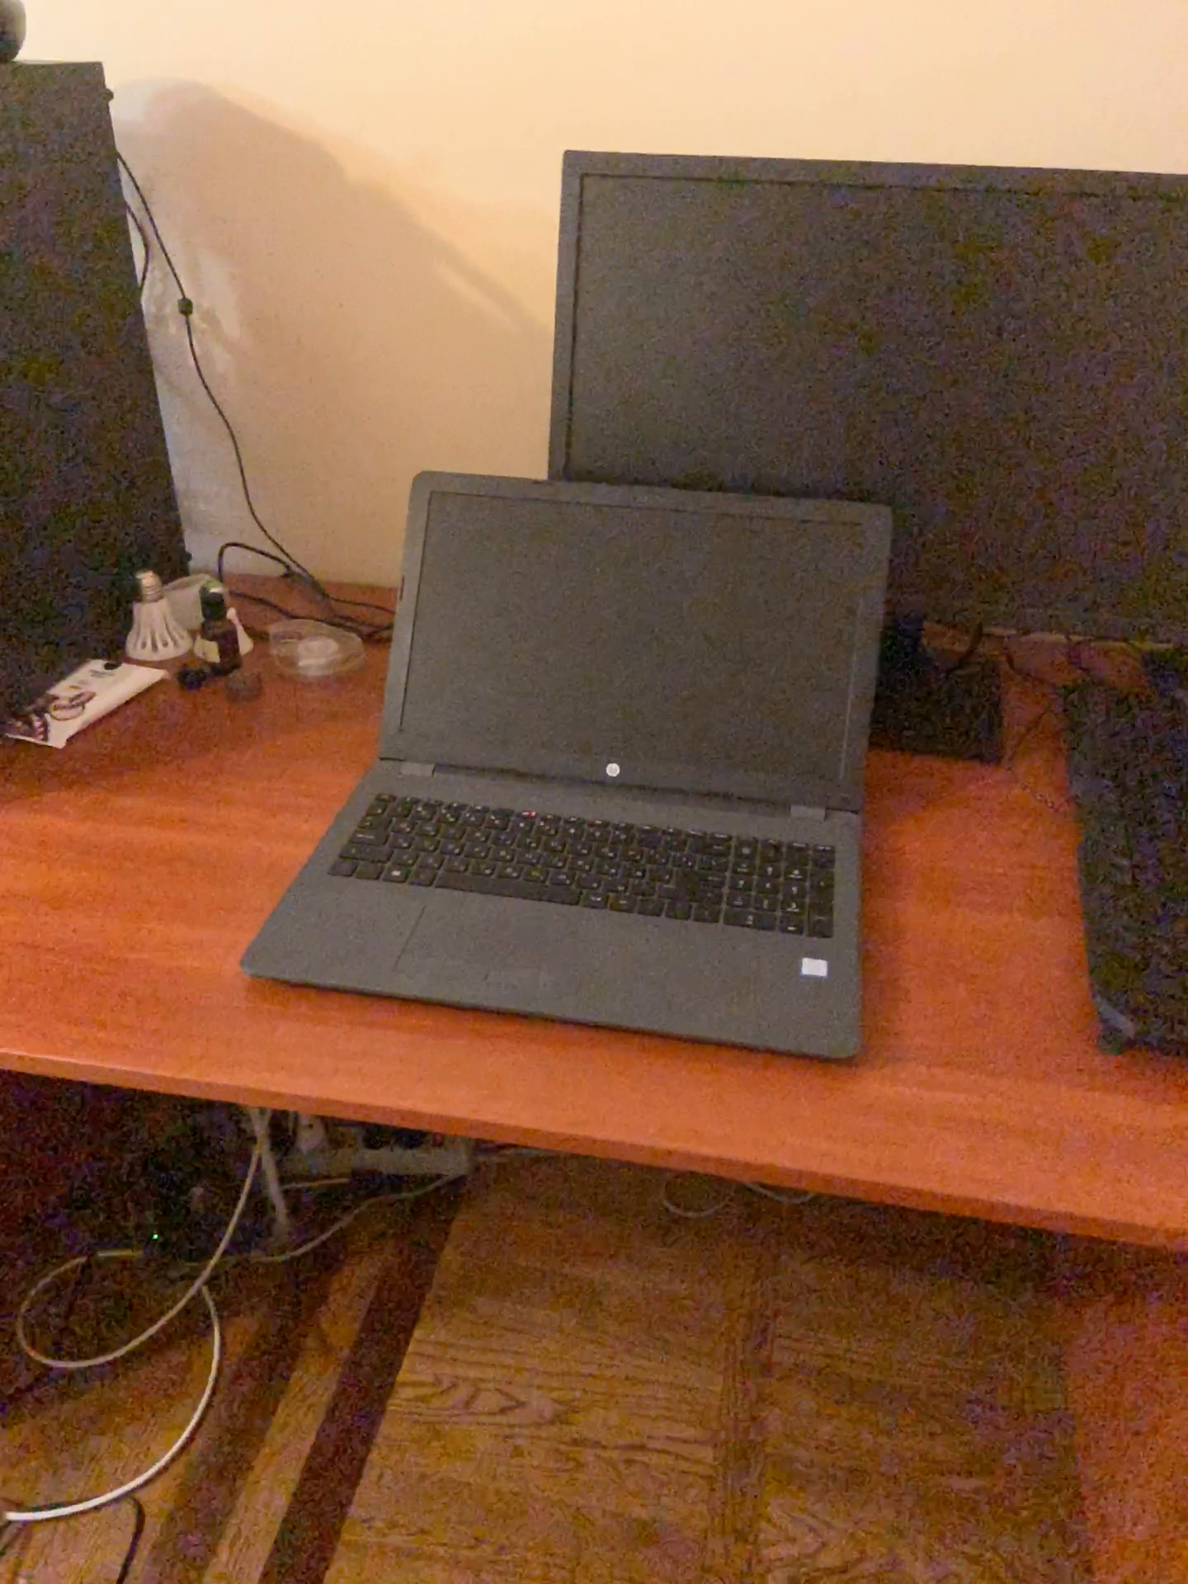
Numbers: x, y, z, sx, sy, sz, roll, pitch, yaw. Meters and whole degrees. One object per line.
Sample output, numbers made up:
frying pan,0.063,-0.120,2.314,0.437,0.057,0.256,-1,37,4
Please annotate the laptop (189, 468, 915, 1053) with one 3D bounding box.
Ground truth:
laptop,0.004,-0.056,0.817,0.372,0.188,0.394,6,32,8
